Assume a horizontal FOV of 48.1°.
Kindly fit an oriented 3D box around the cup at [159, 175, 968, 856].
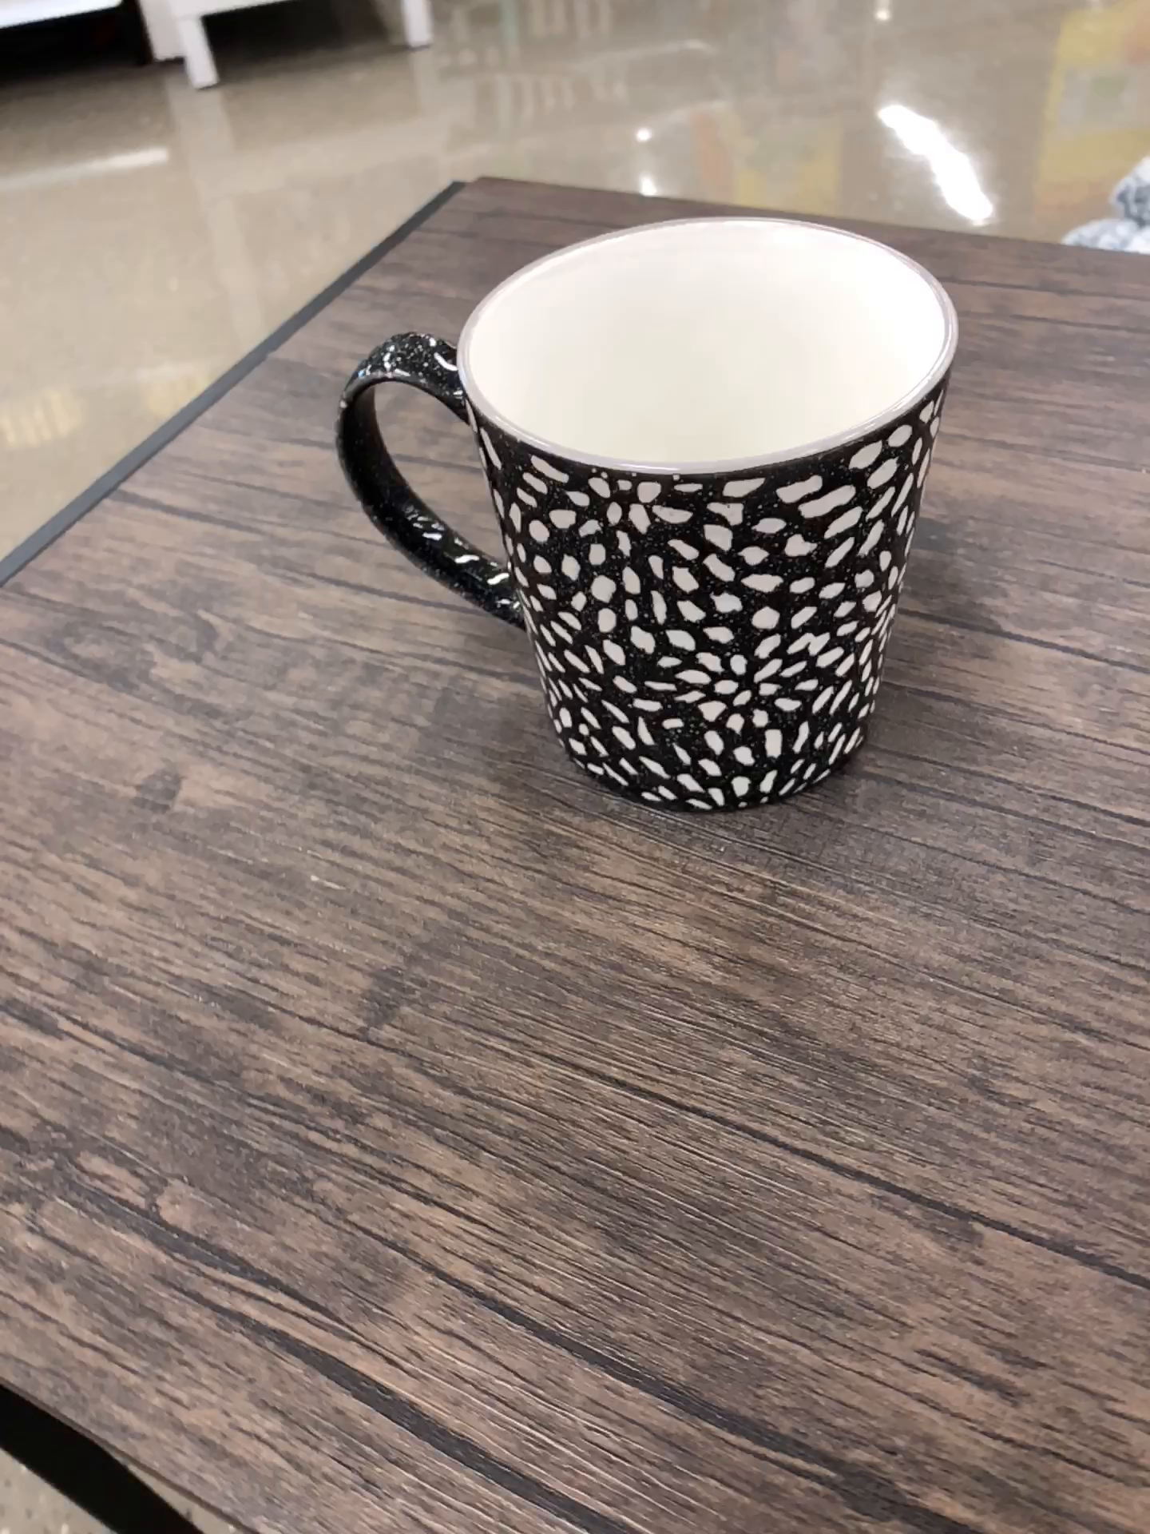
[{"bbox_3d":[0.006,-0.062,0.297,0.140,0.100,0.100,10,49,16],"label":"cup"}]
